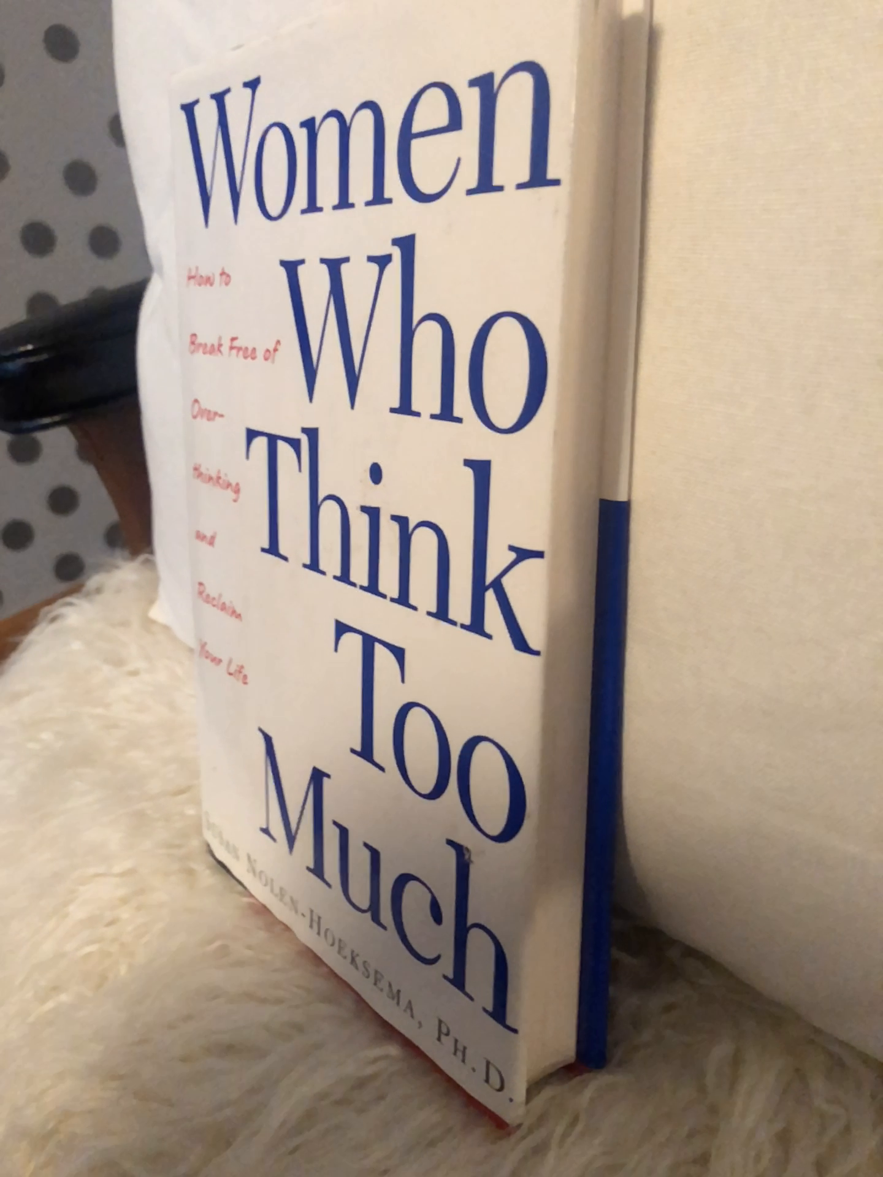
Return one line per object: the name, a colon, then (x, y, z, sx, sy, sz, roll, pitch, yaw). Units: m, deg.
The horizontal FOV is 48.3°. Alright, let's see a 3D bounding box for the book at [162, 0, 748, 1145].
book: (-0.018, -0.017, 0.260, 0.040, 0.241, 0.166, -8, 18, -39)
